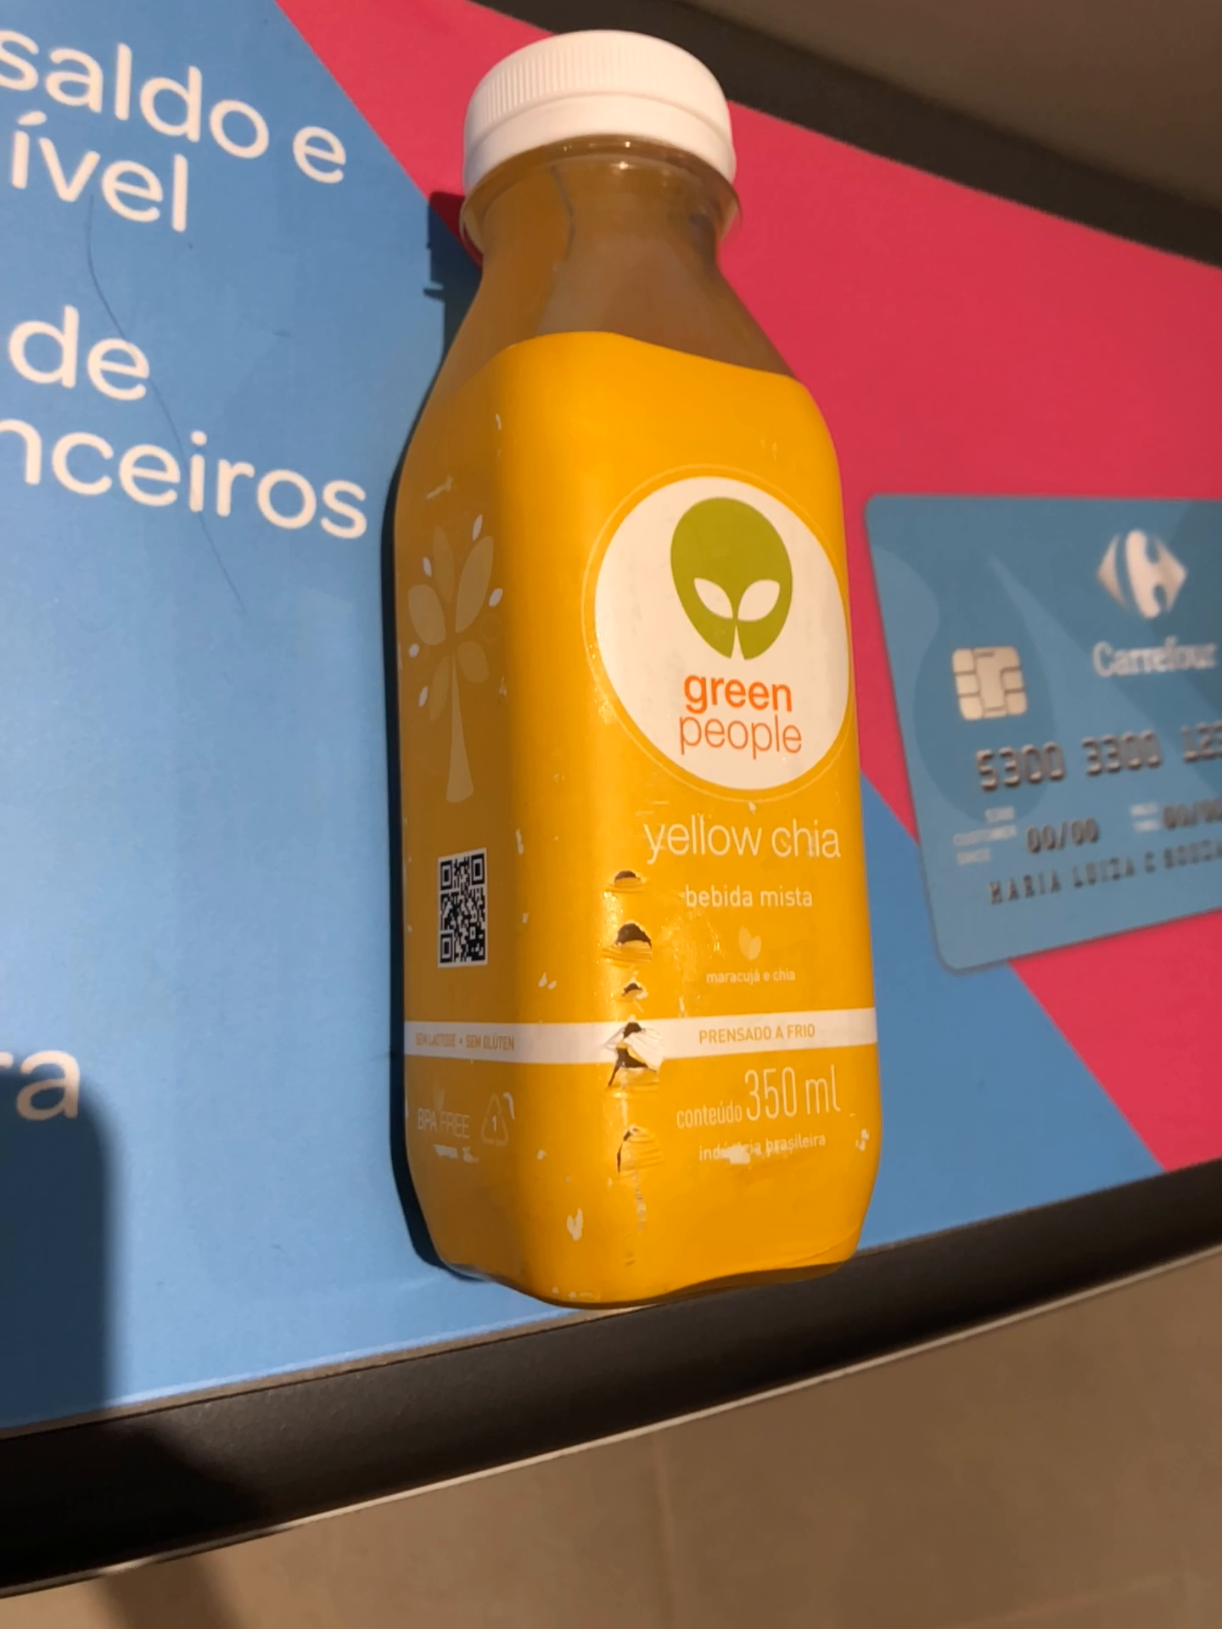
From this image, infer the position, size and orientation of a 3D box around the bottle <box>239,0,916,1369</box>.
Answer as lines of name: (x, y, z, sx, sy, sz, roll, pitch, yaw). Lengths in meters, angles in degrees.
bottle: (-0.010, -0.028, 0.194, 0.060, 0.060, 0.180, -1, 82, -31)
